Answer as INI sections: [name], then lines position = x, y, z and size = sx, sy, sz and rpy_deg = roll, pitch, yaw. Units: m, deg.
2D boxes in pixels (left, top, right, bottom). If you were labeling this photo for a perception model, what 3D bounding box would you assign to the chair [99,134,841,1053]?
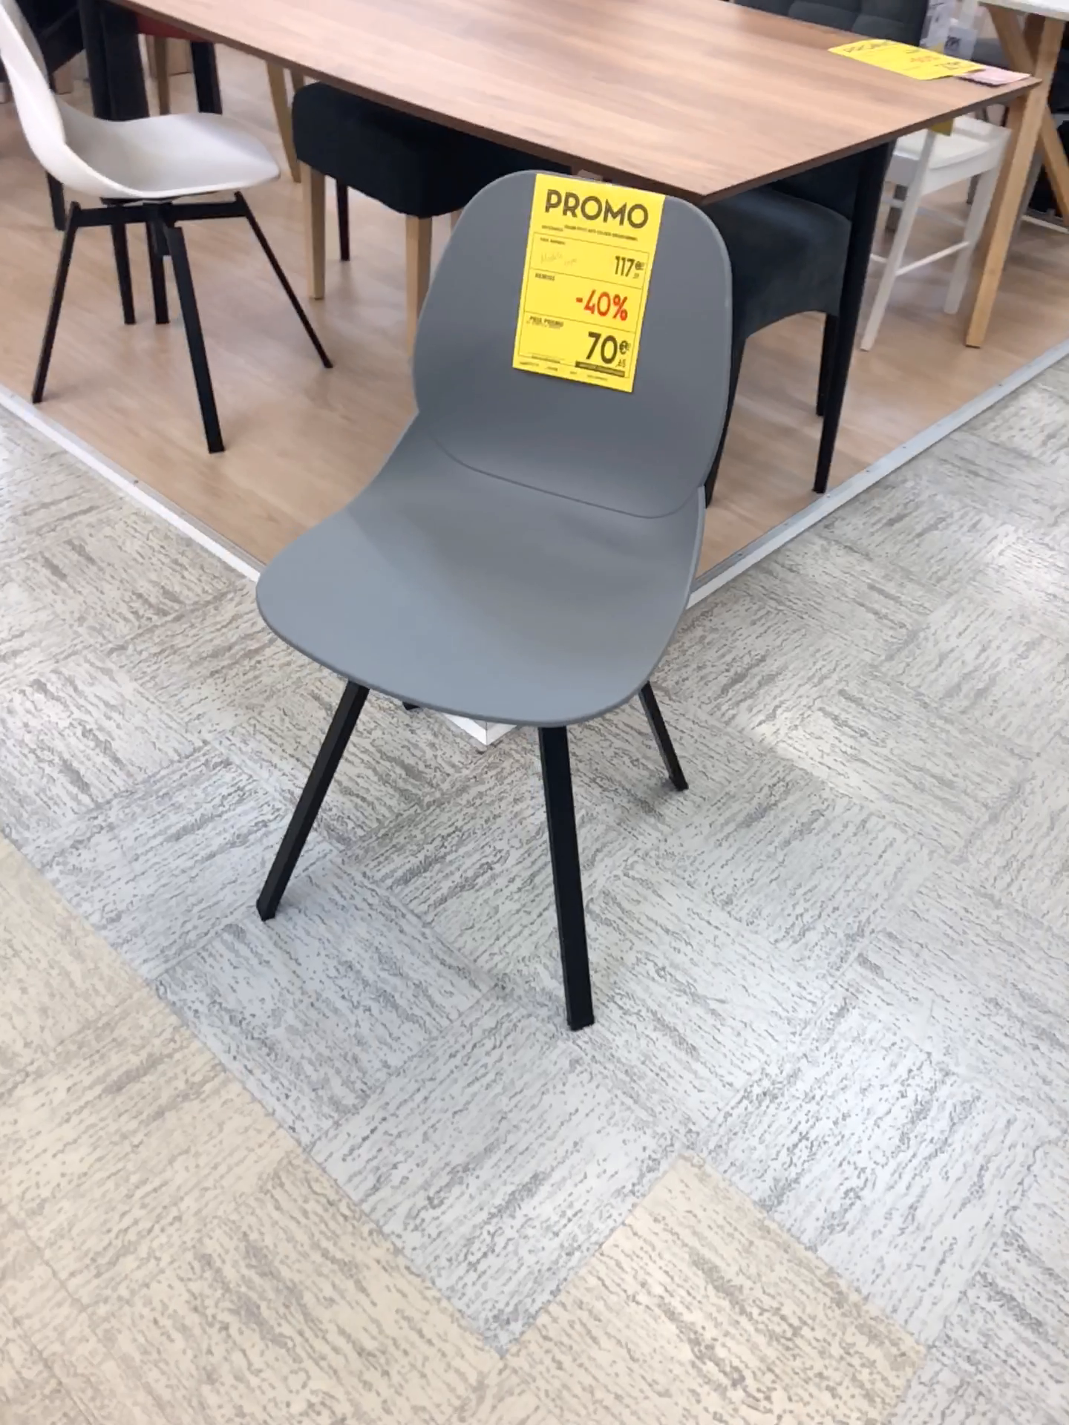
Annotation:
[chair]
position = -0.032, -0.142, 1.333
size = 0.510, 0.755, 0.584
rpy_deg = 16, 43, 12
